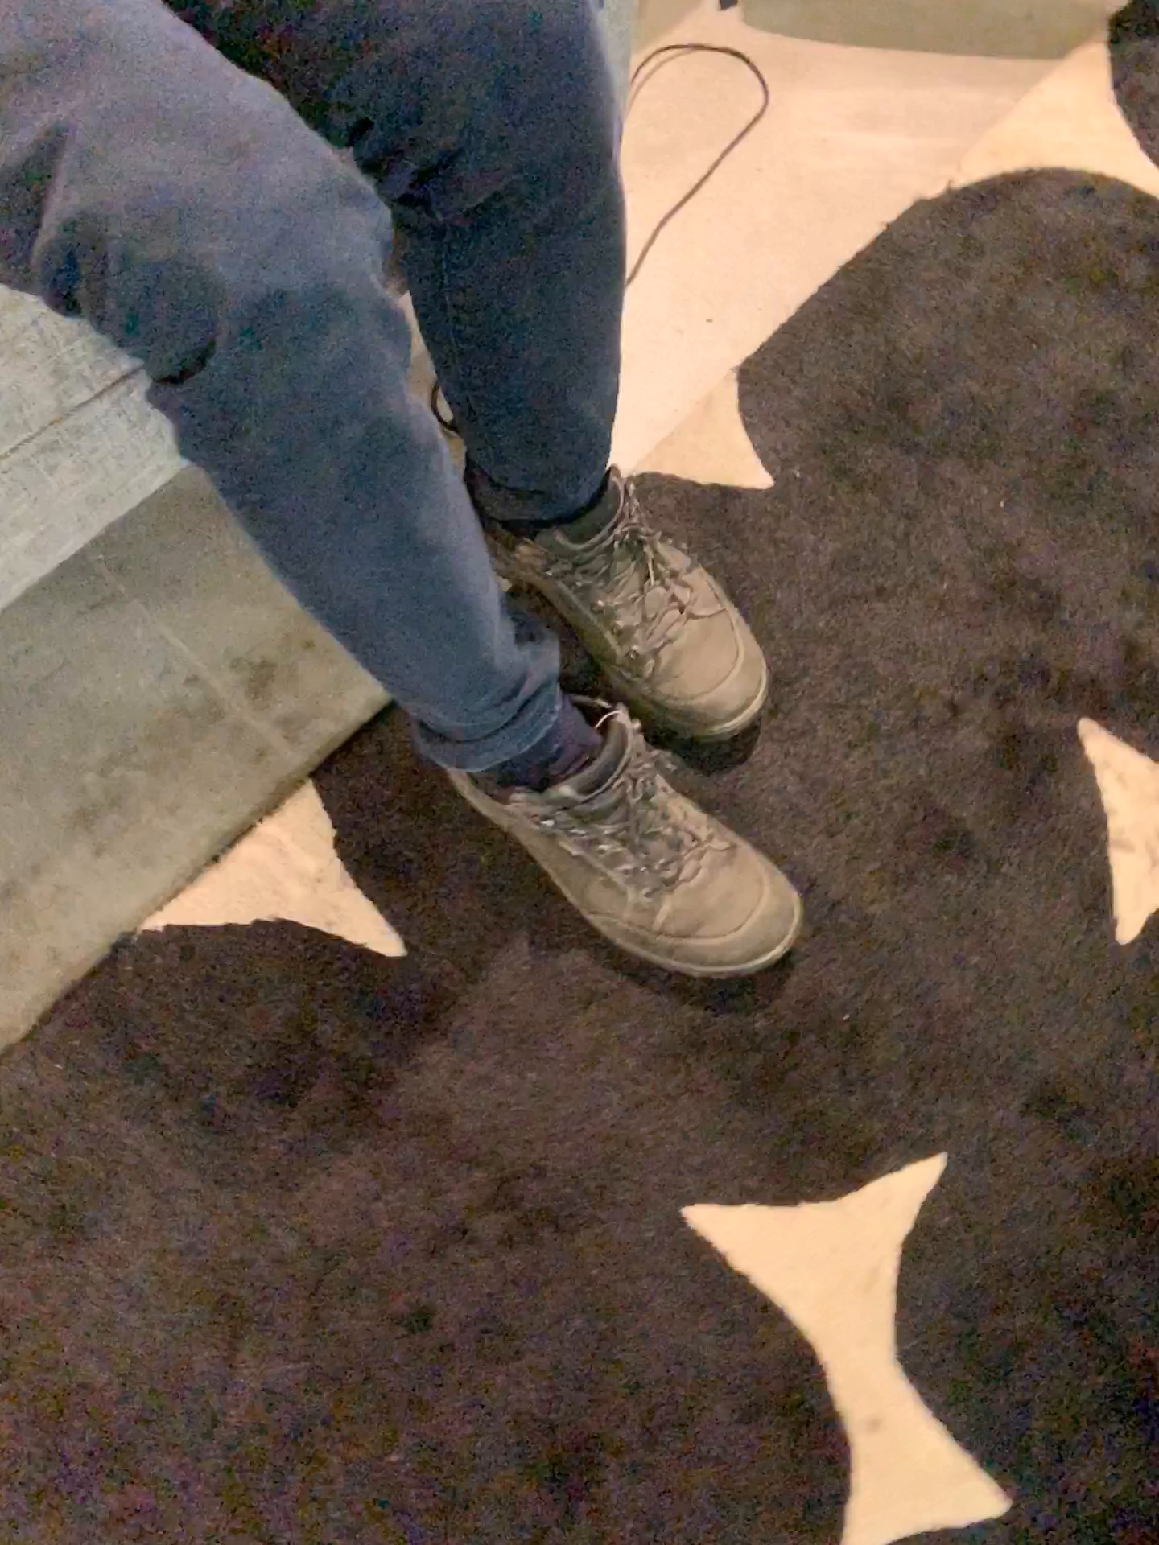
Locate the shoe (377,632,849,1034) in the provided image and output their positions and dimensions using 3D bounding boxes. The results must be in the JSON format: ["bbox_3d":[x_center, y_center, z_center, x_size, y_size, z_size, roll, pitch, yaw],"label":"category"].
[{"bbox_3d":[0.020,0.040,0.802,0.287,0.077,0.121,33,74,10],"label":"shoe"}]

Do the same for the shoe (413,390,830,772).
[{"bbox_3d":[0.027,-0.143,0.871,0.285,0.077,0.119,39,75,12],"label":"shoe"}]
